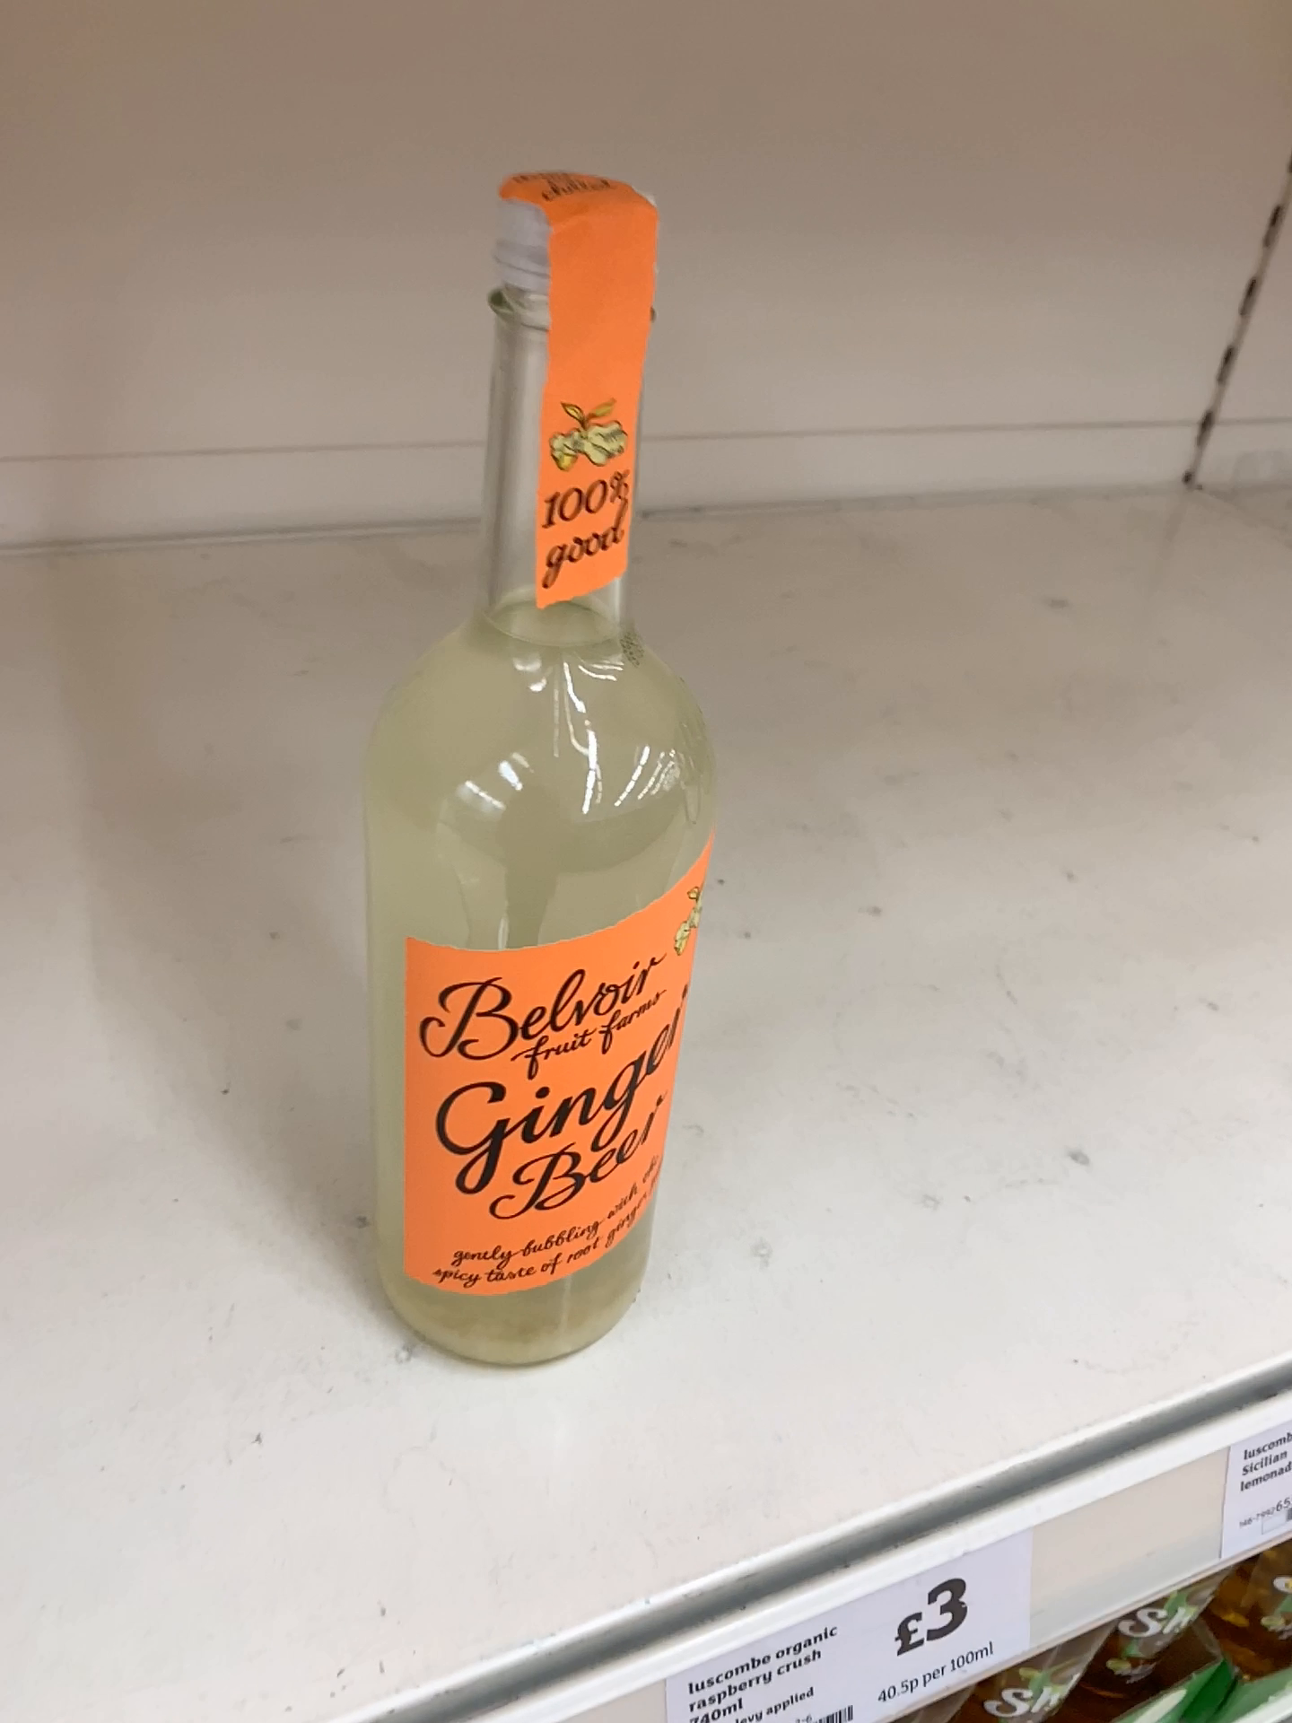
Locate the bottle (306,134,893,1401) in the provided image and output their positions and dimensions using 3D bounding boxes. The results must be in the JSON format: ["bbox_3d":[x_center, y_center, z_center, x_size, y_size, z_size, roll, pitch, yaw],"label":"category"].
[{"bbox_3d":[-0.027,-0.005,0.314,0.084,0.277,0.091,5,34,-3],"label":"bottle"}]
